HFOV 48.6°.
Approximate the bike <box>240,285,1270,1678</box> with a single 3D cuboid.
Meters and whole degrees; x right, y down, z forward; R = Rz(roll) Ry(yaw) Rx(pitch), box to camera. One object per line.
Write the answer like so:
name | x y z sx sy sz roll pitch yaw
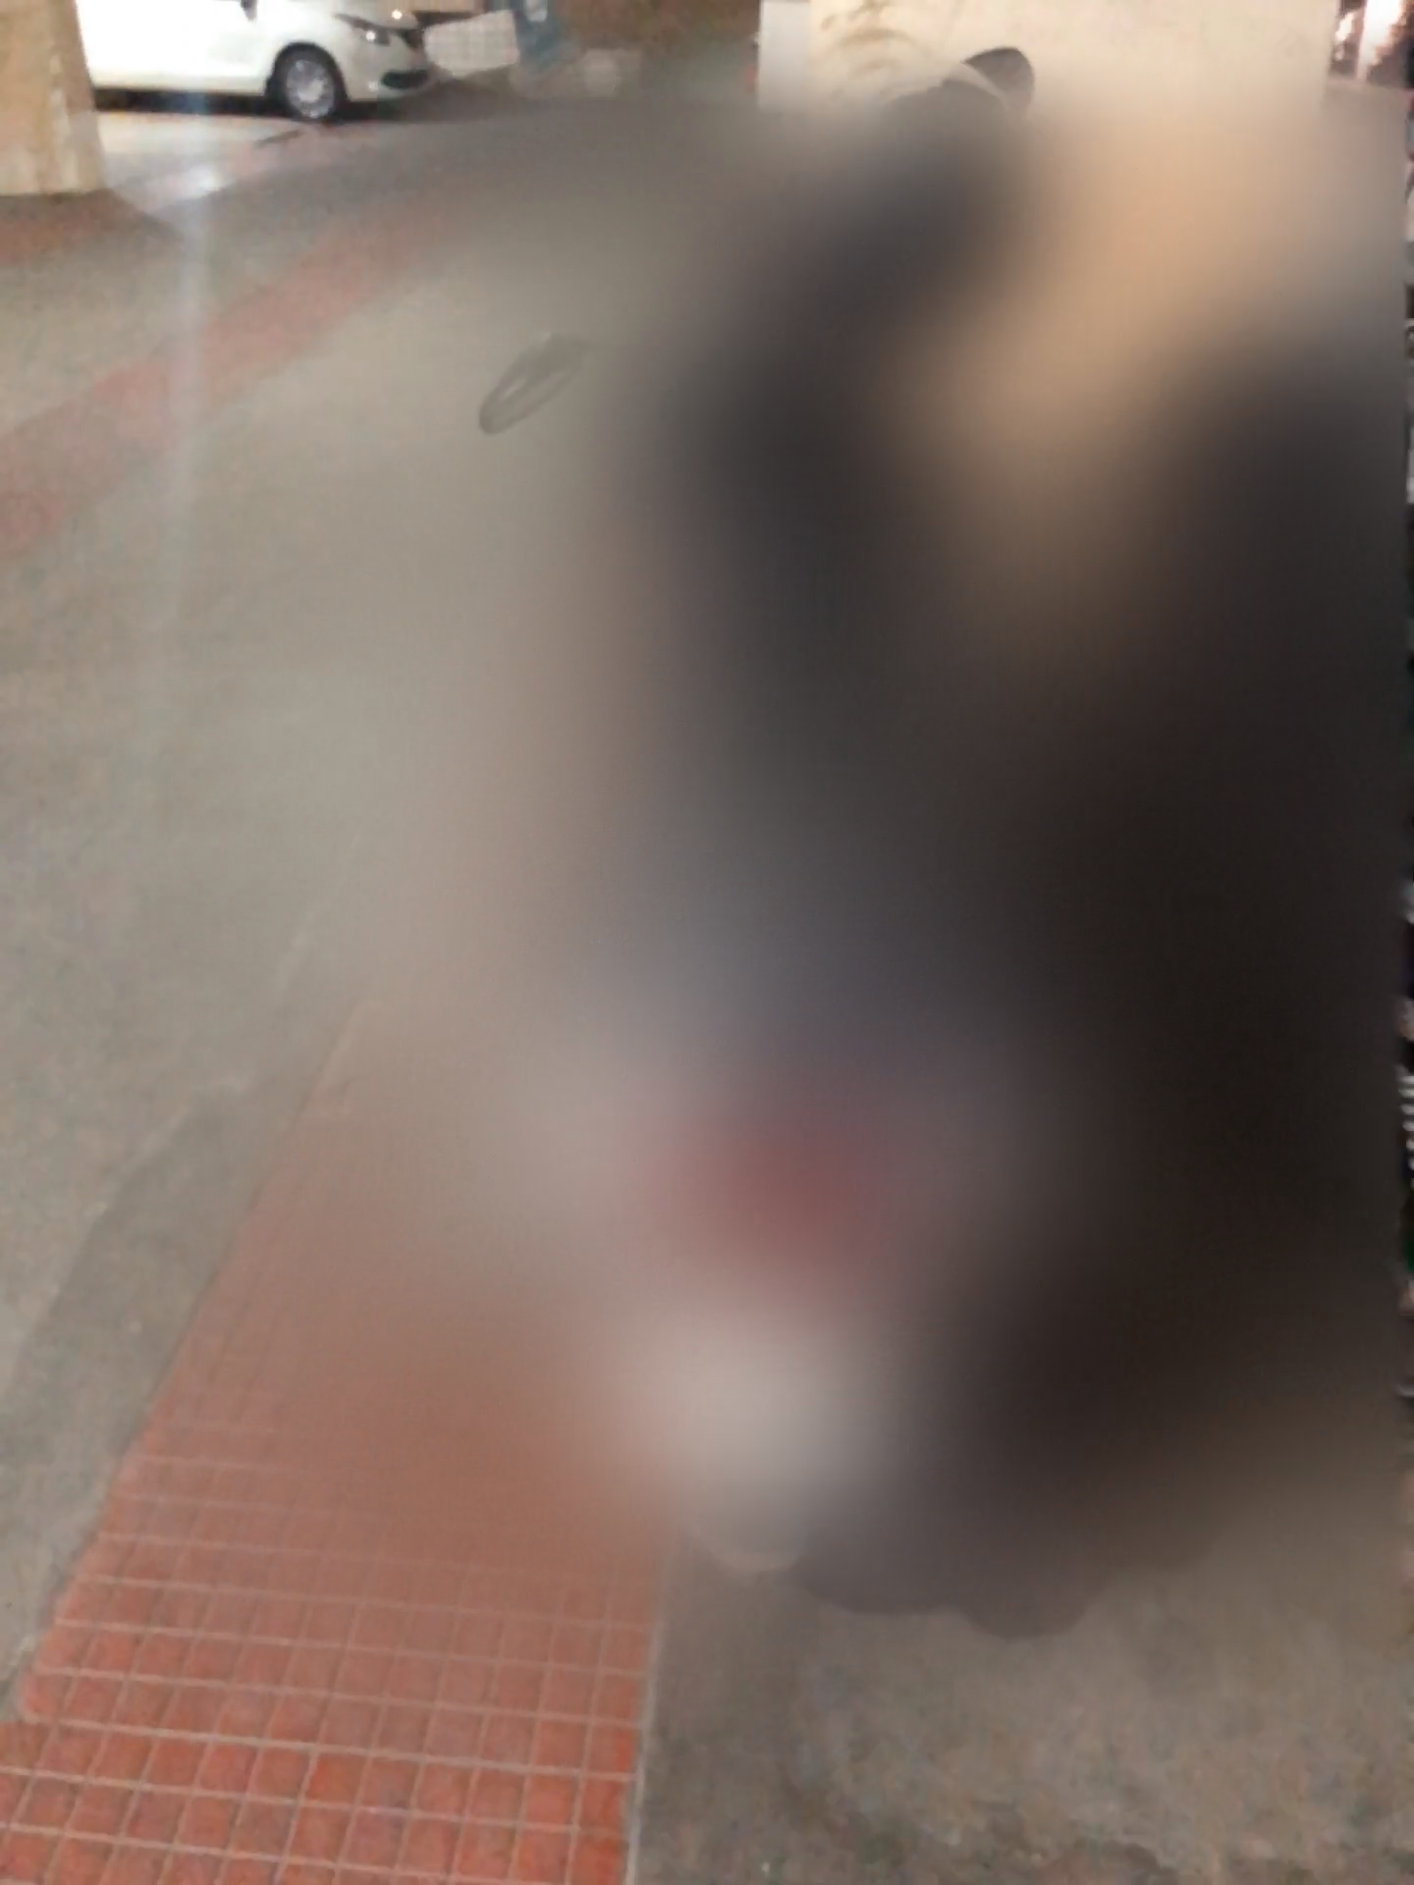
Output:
bike | -0.010 -0.140 1.826 0.594 0.989 1.501 0 30 -1
